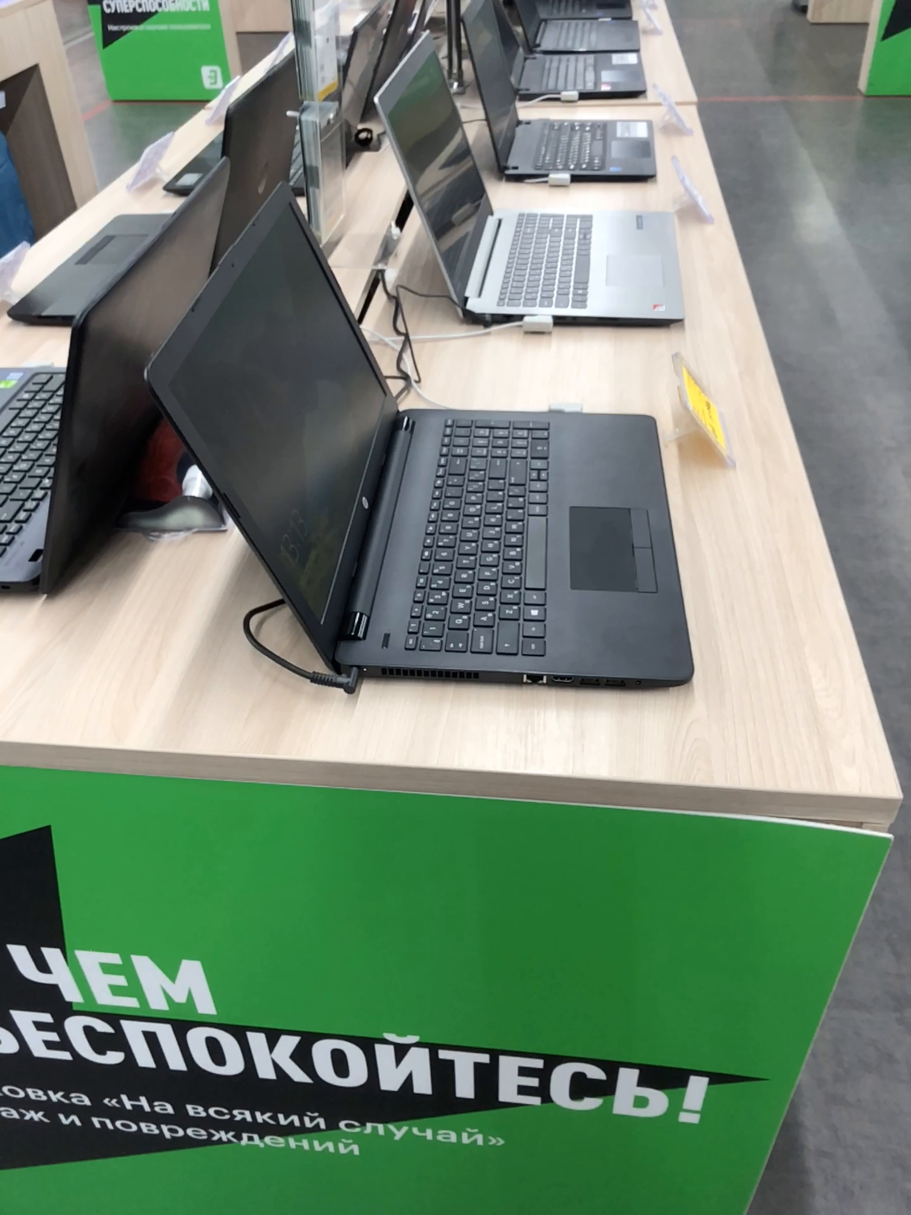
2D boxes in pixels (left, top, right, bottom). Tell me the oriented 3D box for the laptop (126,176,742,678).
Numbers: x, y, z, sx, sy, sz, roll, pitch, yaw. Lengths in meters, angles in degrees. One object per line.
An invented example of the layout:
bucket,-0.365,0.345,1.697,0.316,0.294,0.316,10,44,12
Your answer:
laptop,0.004,-0.161,0.768,0.341,0.217,0.378,2,38,4

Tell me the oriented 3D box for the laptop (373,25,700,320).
laptop,0.108,-0.555,1.247,0.338,0.226,0.373,4,40,7
